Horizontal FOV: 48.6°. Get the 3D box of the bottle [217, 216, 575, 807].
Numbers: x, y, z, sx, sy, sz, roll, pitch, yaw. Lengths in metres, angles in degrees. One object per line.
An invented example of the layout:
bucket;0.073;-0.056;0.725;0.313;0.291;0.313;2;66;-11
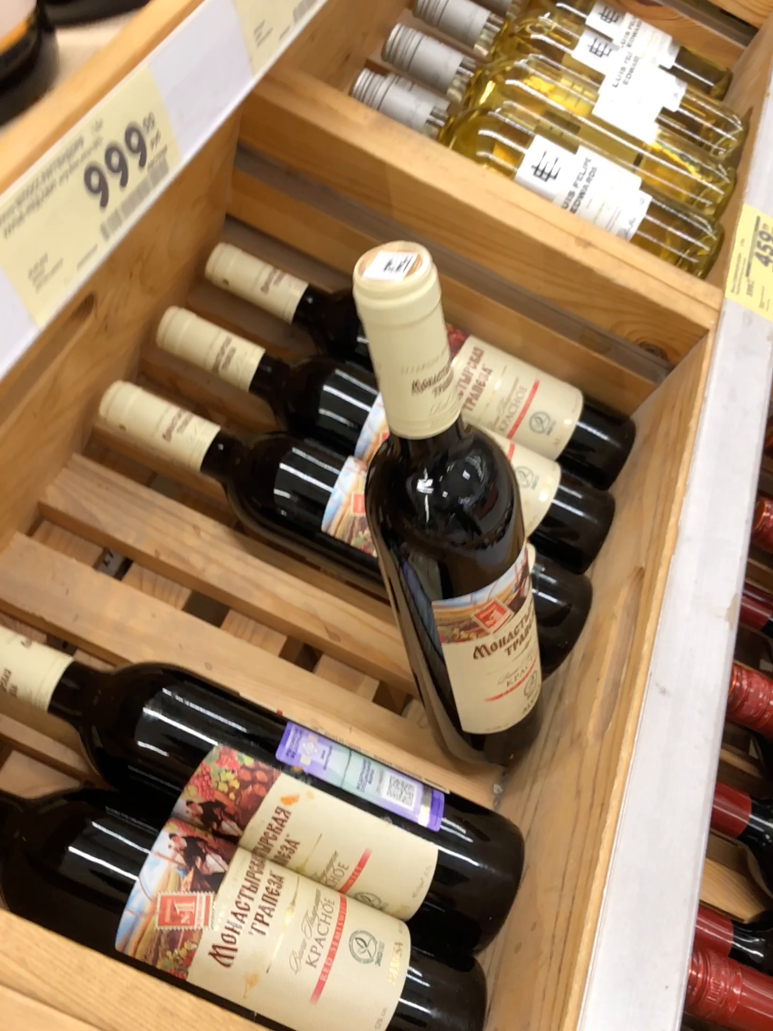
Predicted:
bottle;0.029;0.026;0.396;0.080;0.308;0.080;-7;50;9
